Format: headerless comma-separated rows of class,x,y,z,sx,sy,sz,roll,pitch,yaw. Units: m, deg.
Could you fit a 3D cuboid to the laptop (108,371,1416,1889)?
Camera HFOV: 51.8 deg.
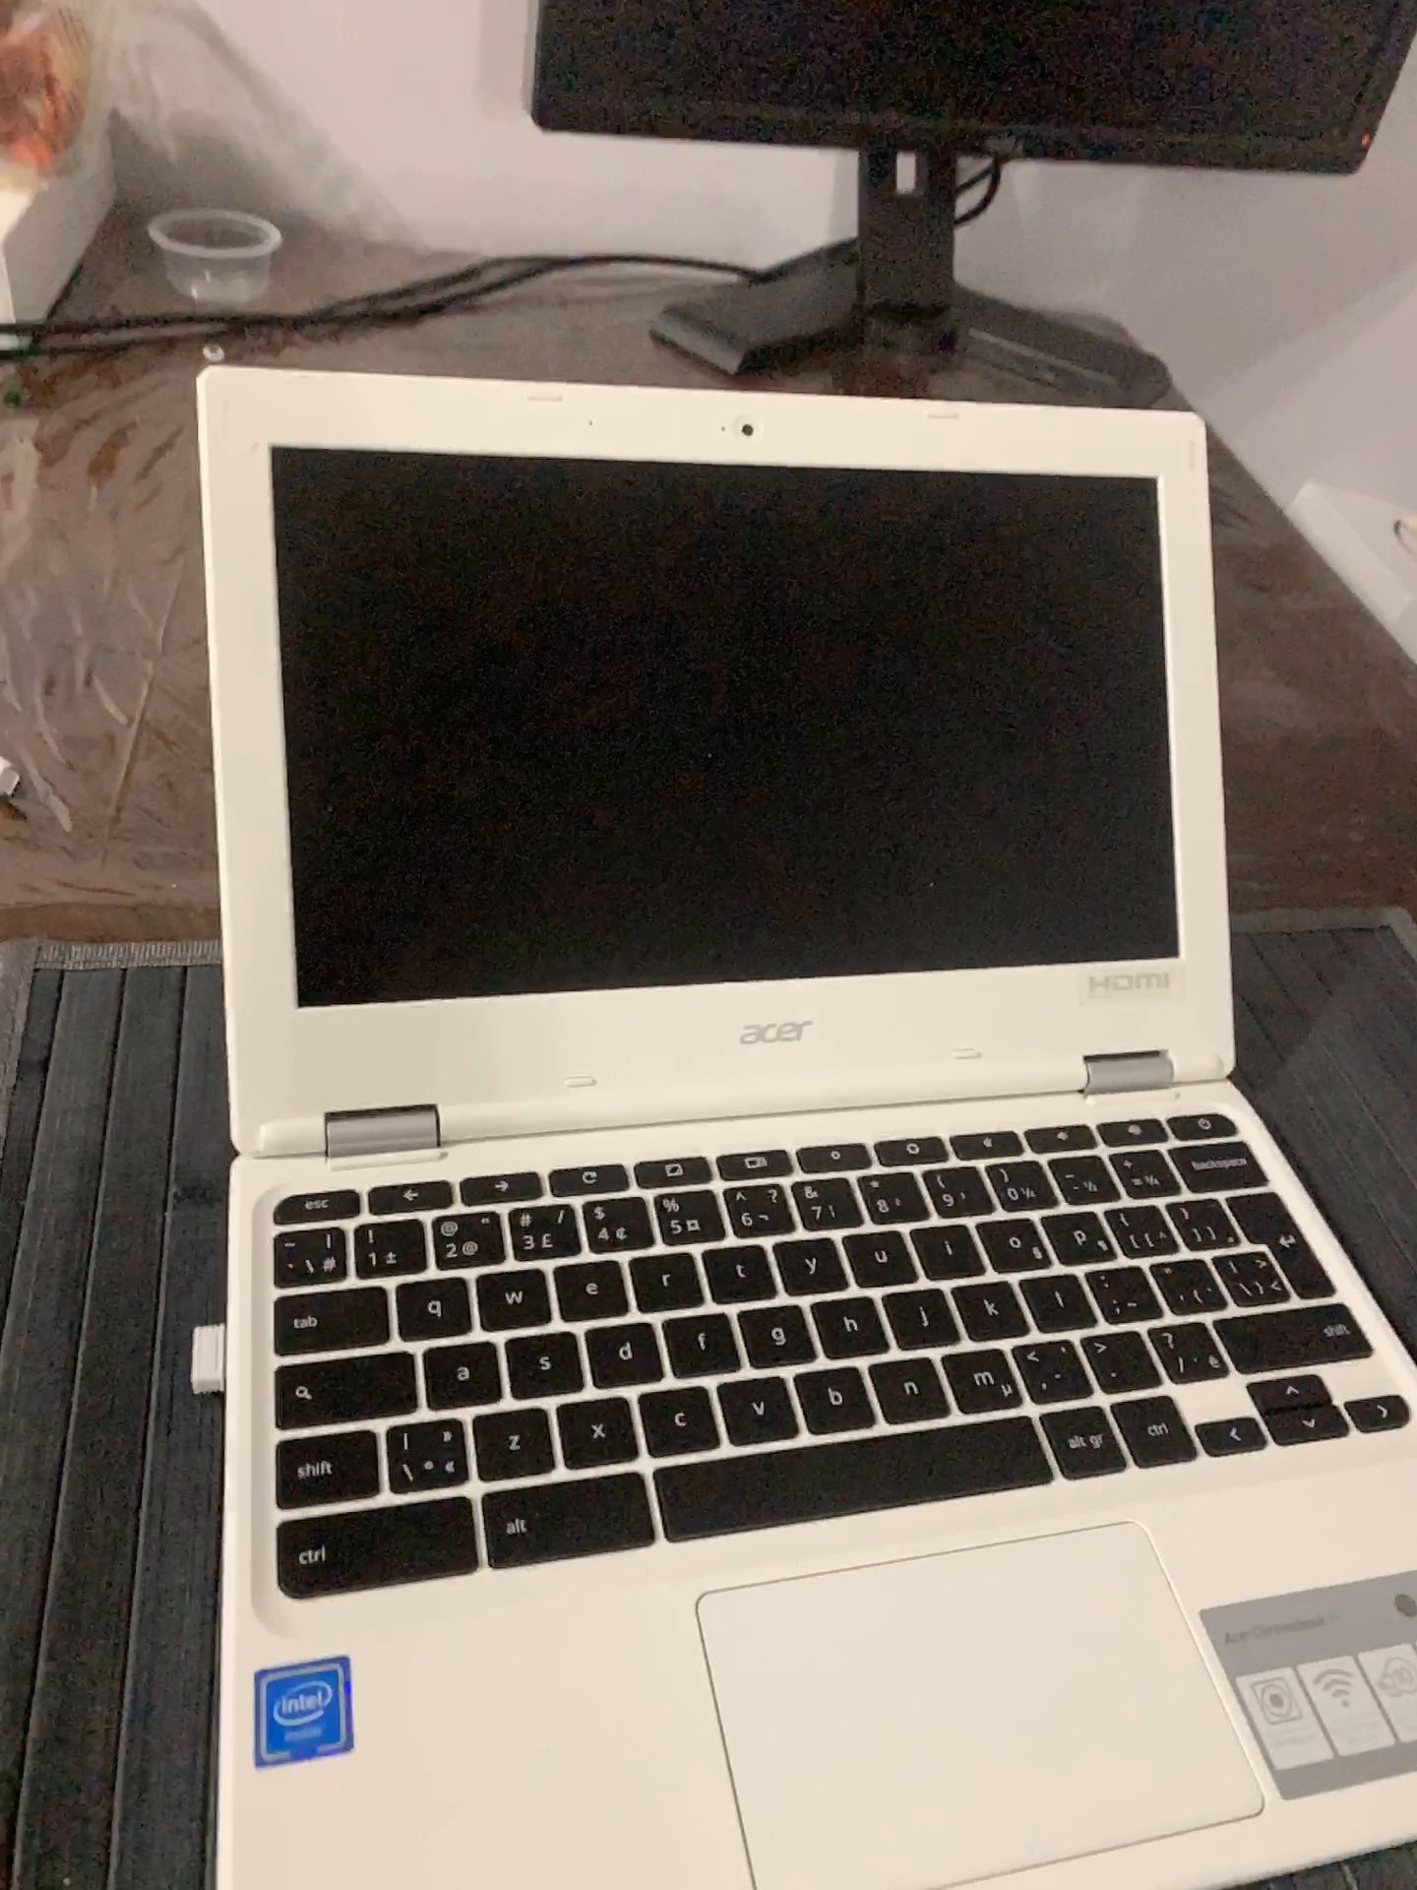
laptop,0.037,0.014,0.334,0.284,0.142,0.329,-2,44,-14
